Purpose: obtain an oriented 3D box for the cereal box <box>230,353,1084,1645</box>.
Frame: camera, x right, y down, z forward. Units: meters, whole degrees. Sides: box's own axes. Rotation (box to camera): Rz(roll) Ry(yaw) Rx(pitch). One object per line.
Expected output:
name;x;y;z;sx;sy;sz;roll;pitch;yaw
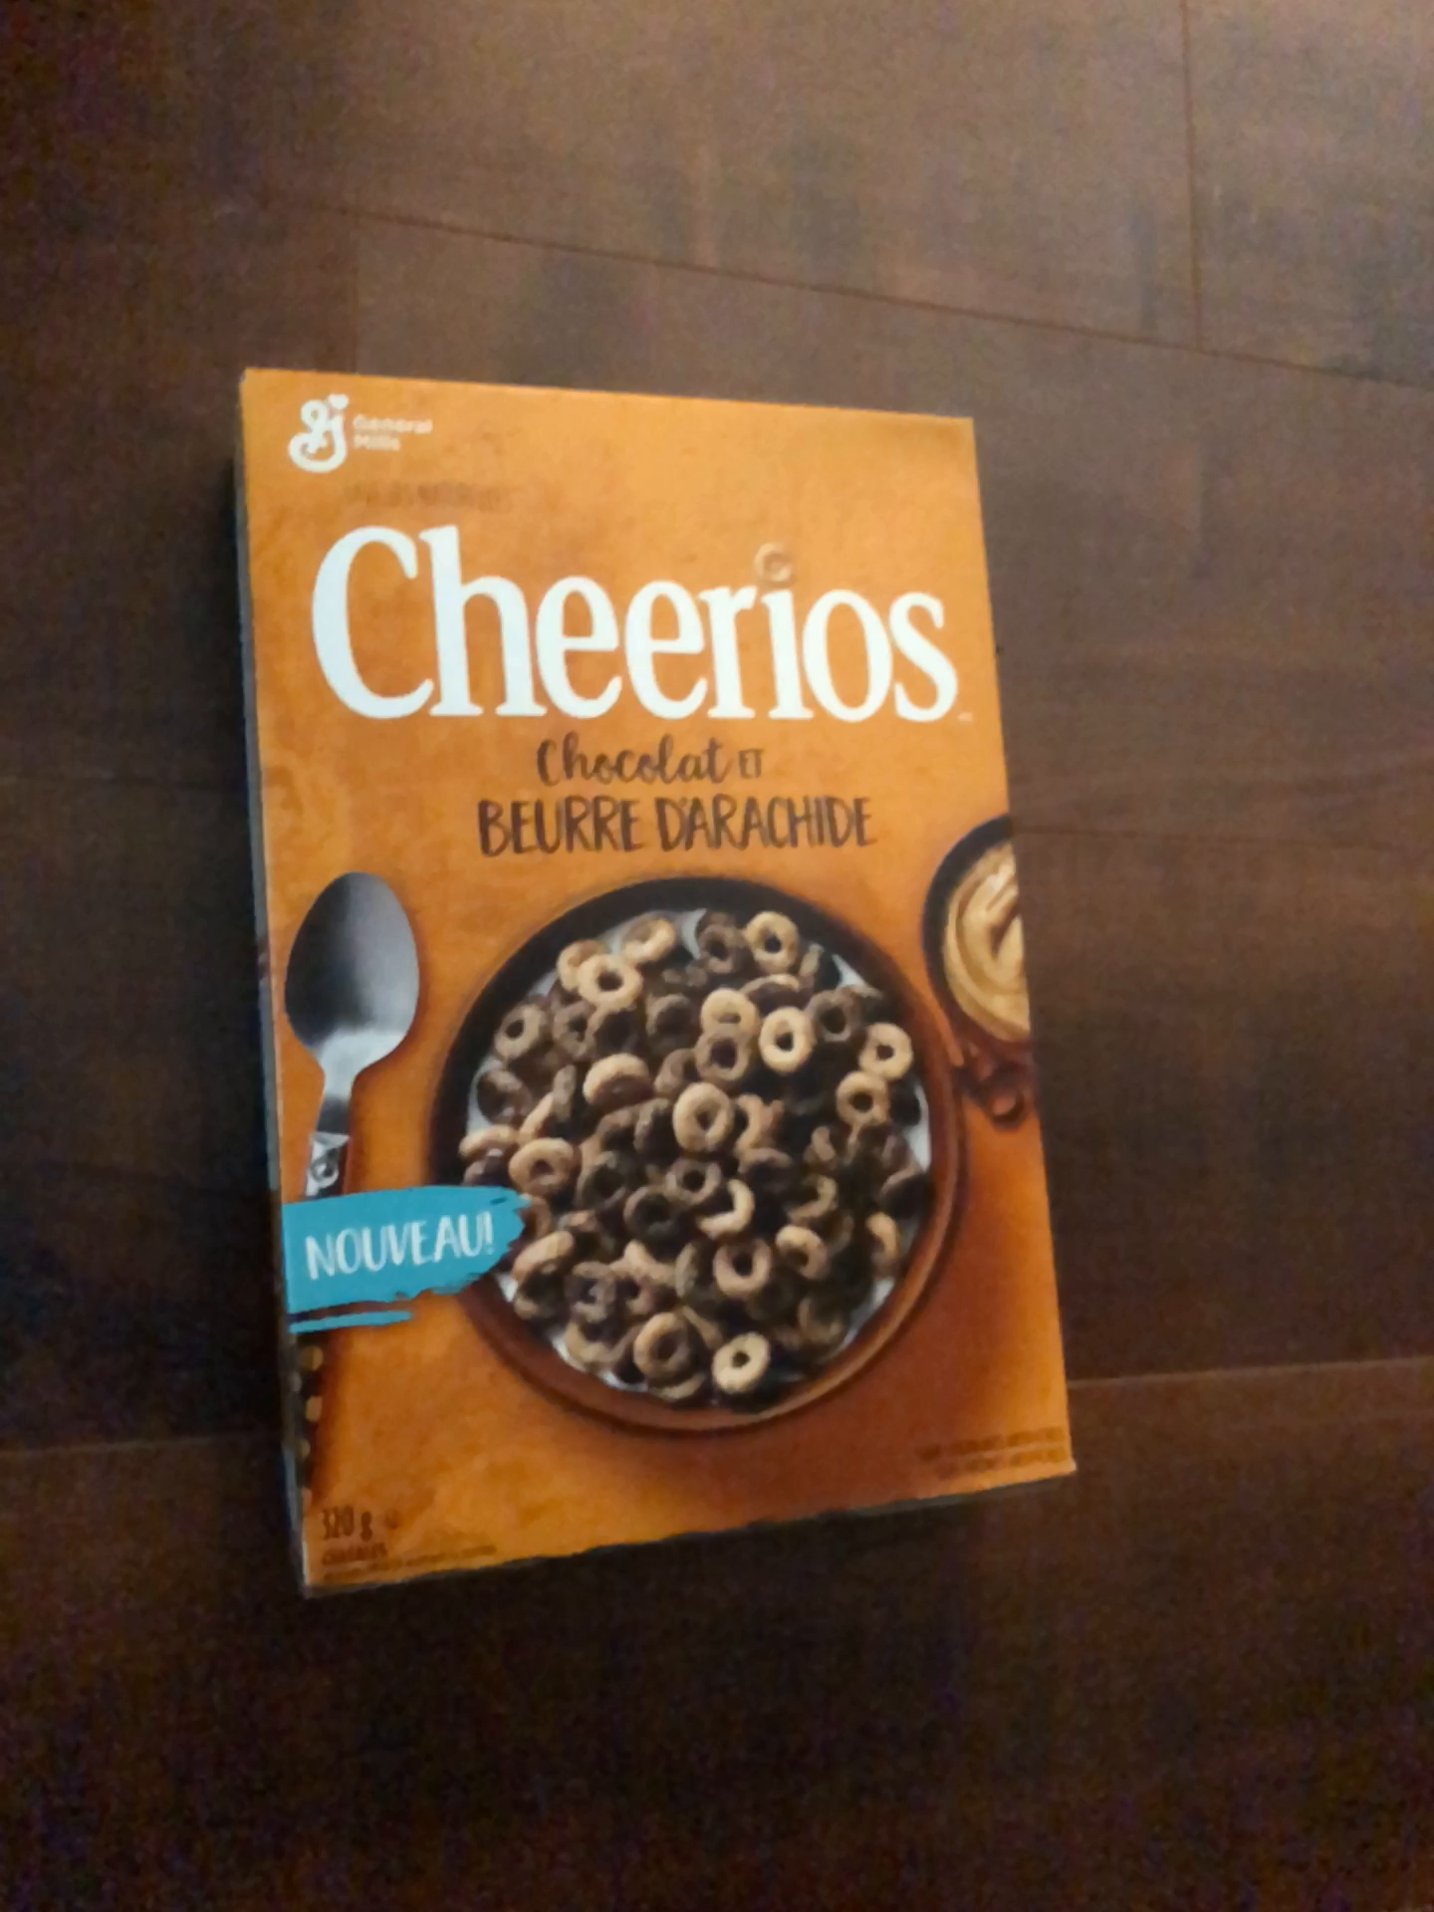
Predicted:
cereal box;-0.019;0.003;0.427;0.200;0.060;0.300;-3;85;-17
